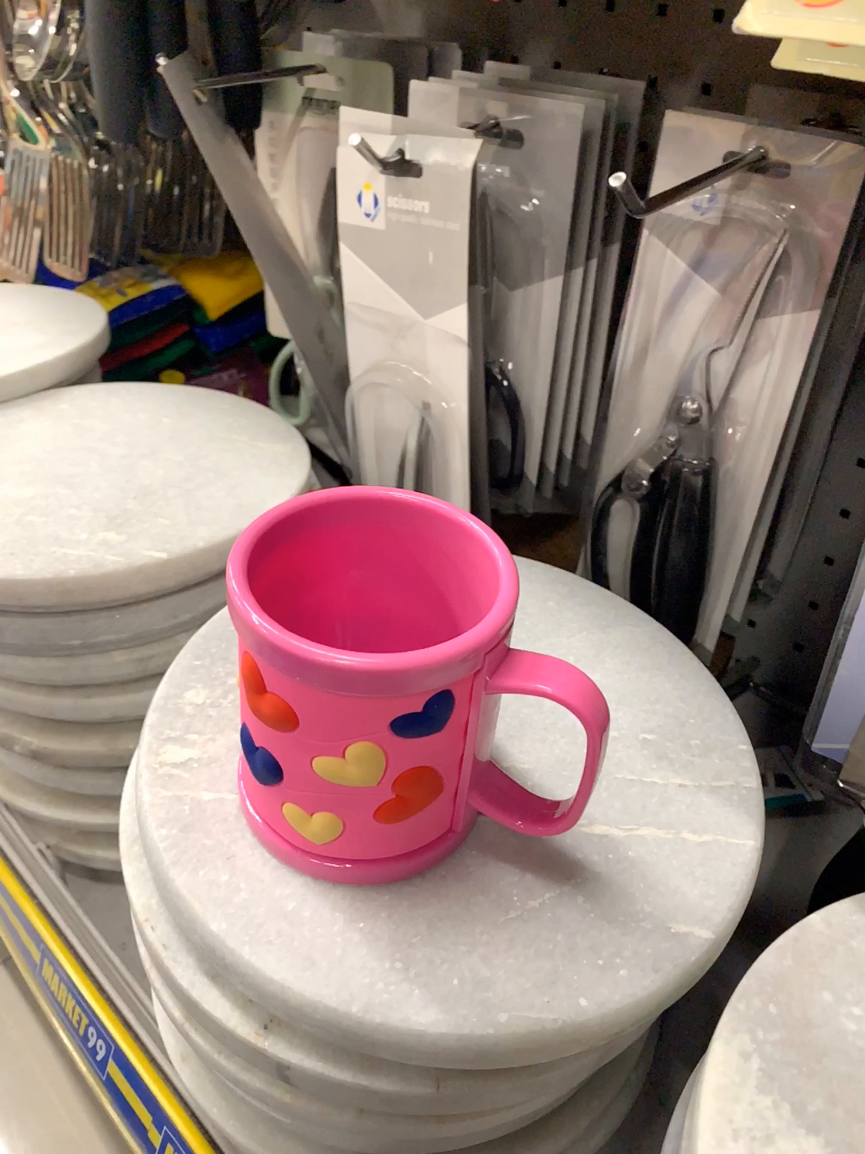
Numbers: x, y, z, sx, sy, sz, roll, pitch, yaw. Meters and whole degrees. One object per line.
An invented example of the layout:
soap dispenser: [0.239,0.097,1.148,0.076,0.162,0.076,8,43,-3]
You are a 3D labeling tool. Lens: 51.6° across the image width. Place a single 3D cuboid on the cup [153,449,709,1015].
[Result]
cup: [0.001,0.038,0.259,0.120,0.100,0.080,18,38,21]
